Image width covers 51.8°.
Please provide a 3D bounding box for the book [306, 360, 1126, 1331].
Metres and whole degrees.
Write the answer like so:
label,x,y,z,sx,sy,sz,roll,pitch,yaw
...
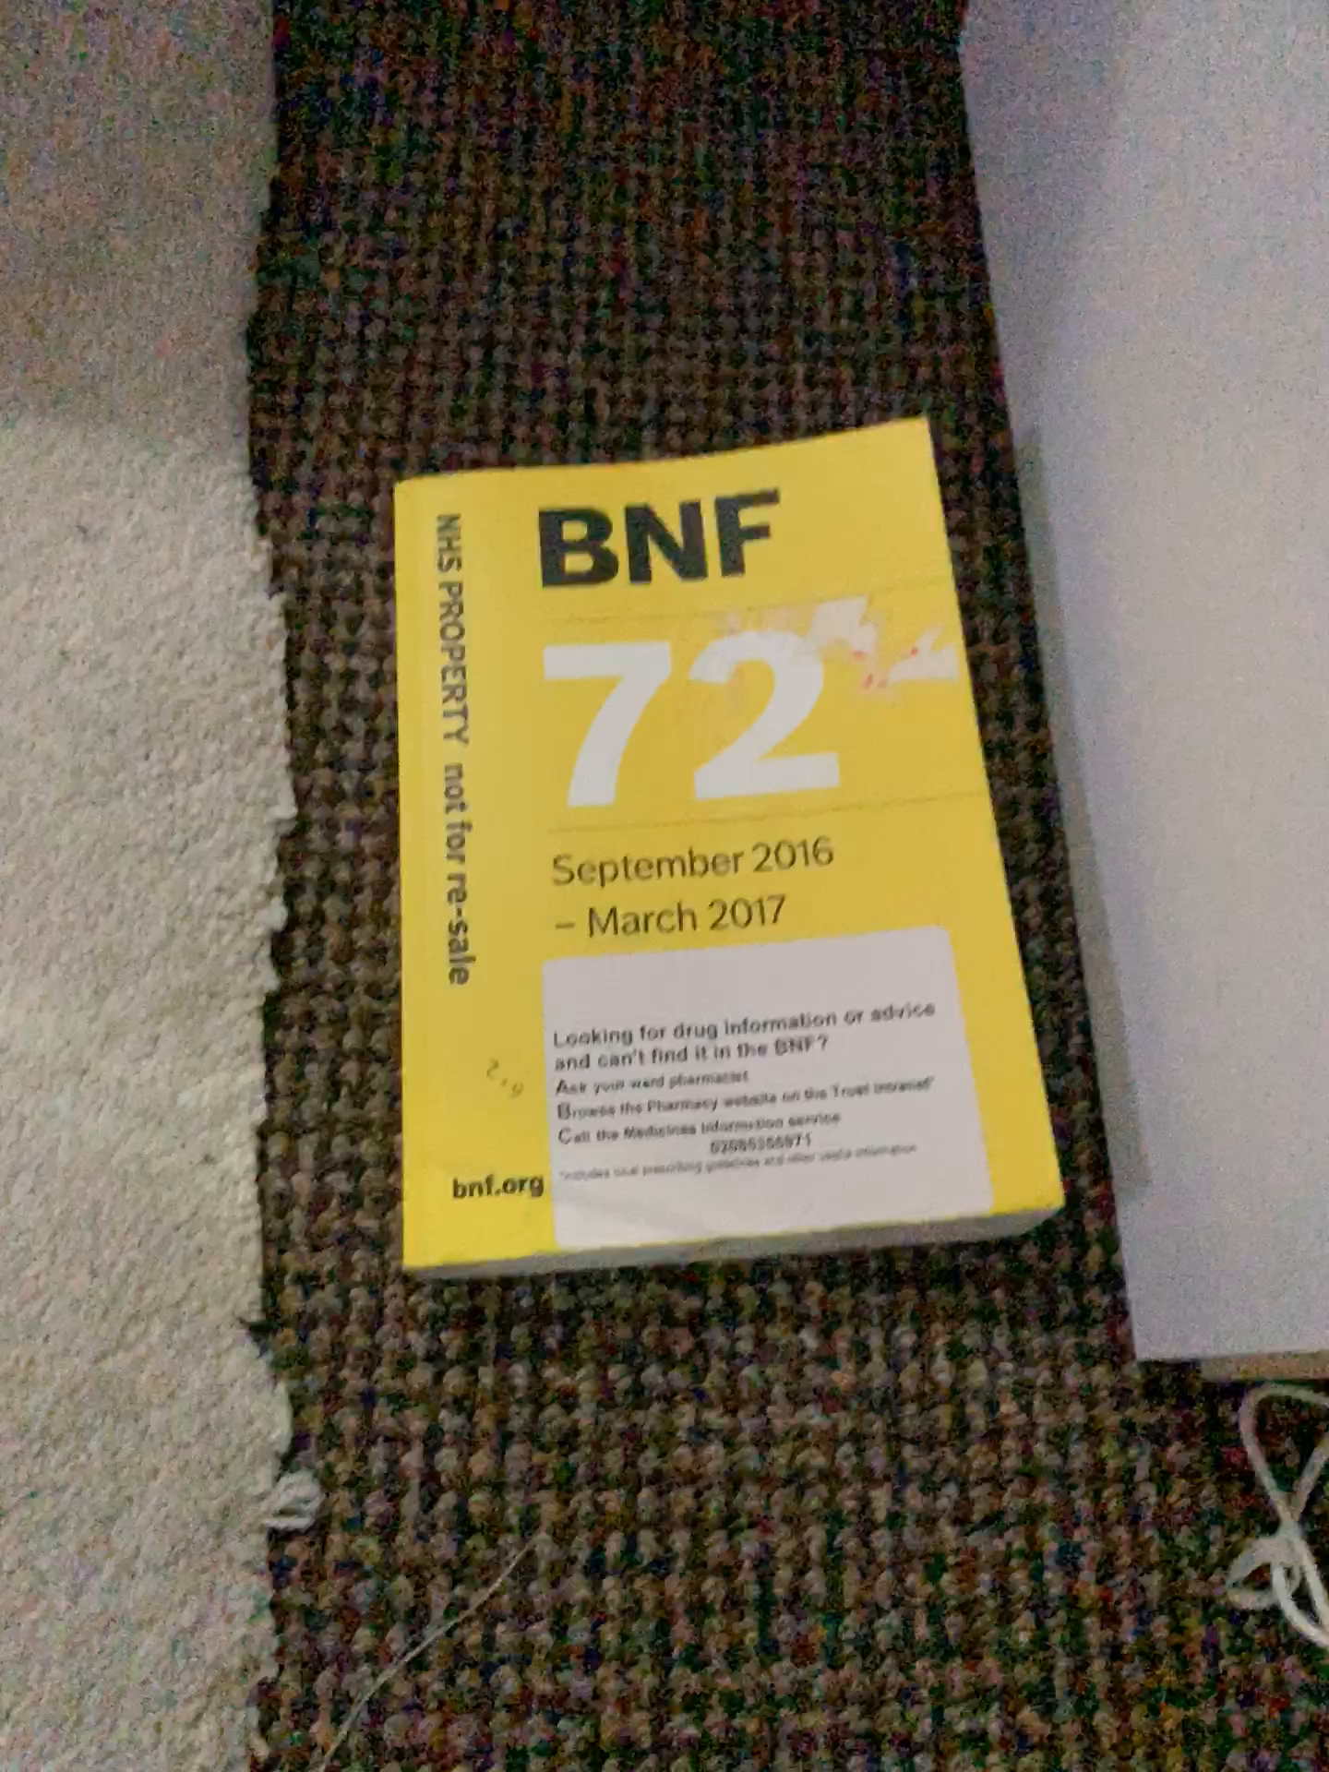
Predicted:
label,x,y,z,sx,sy,sz,roll,pitch,yaw
book,0.001,-0.018,0.329,0.160,0.050,0.221,-4,70,-6
